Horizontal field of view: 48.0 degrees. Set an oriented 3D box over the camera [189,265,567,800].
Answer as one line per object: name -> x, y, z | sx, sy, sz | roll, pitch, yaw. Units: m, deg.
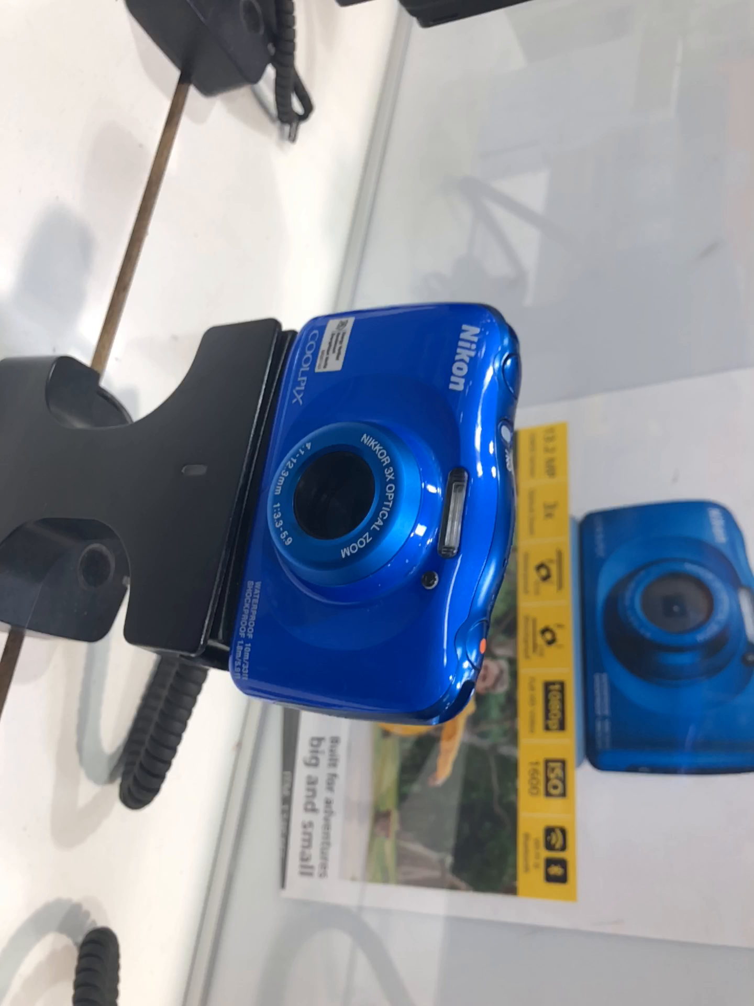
camera -> 0.006, 0.008, 0.237 | 0.050, 0.070, 0.130 | 37, 58, -55
